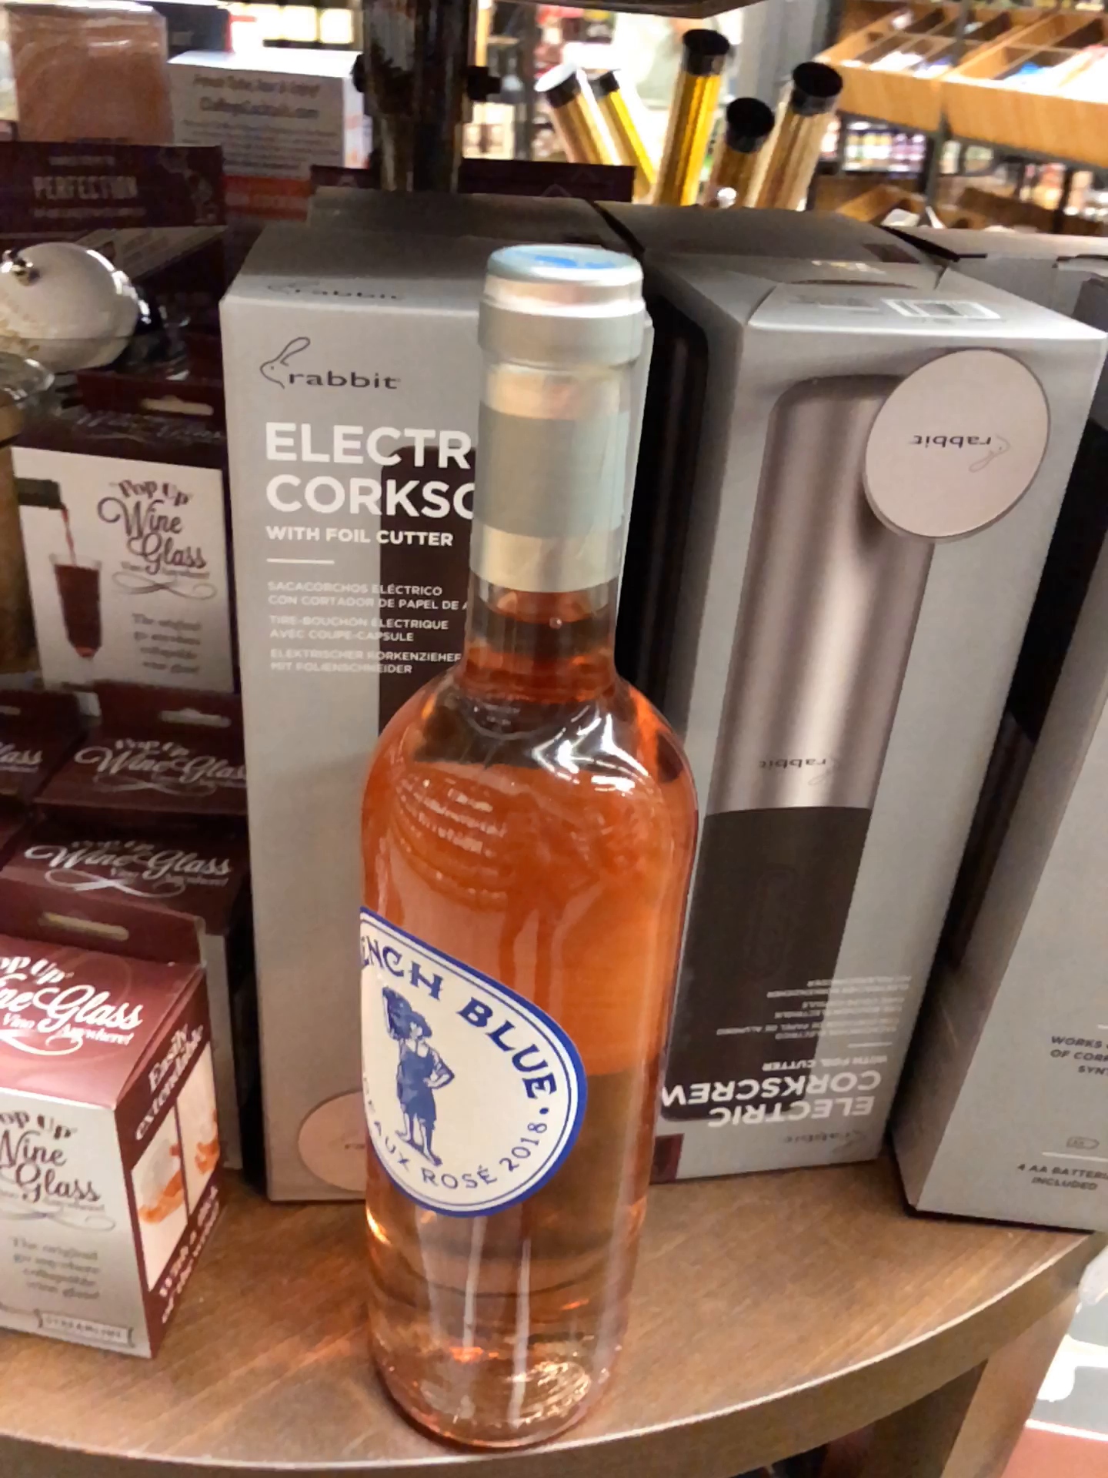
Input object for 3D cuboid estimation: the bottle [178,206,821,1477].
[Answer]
[{"bbox_3d":[-0.012,0.043,0.279,0.078,0.289,0.080,2,30,-1],"label":"bottle"}]
